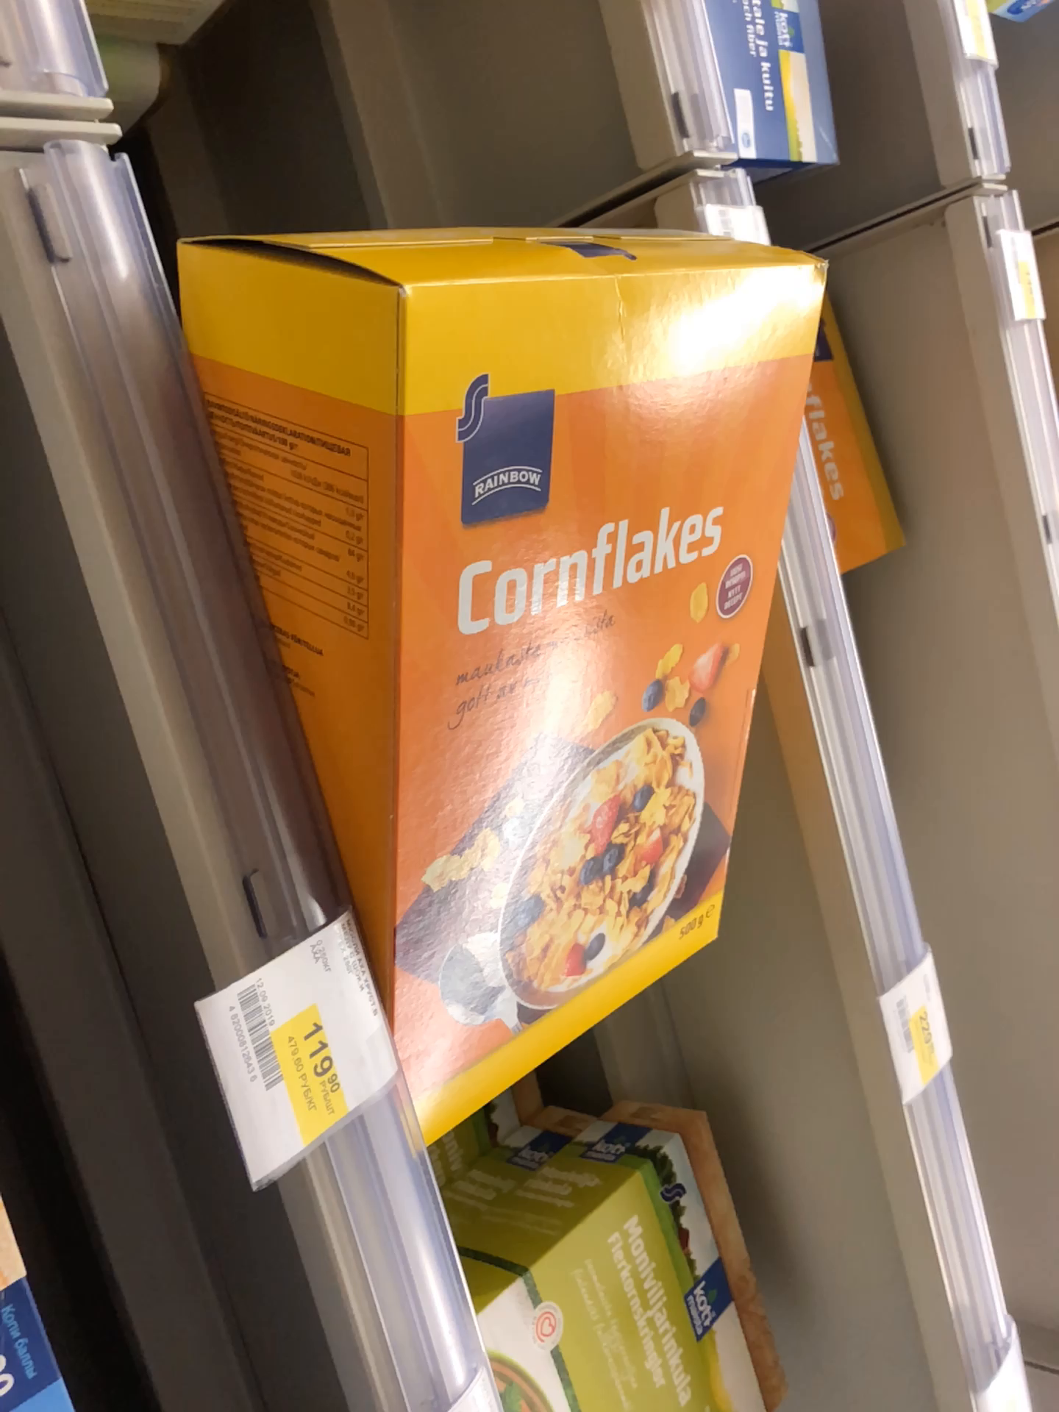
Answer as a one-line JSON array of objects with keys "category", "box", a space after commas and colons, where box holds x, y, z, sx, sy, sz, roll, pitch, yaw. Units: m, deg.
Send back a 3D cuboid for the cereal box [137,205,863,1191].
[{"category": "cereal box", "box": [-0.009, -0.019, 0.426, 0.120, 0.201, 0.289, 25, -57, 36]}]
